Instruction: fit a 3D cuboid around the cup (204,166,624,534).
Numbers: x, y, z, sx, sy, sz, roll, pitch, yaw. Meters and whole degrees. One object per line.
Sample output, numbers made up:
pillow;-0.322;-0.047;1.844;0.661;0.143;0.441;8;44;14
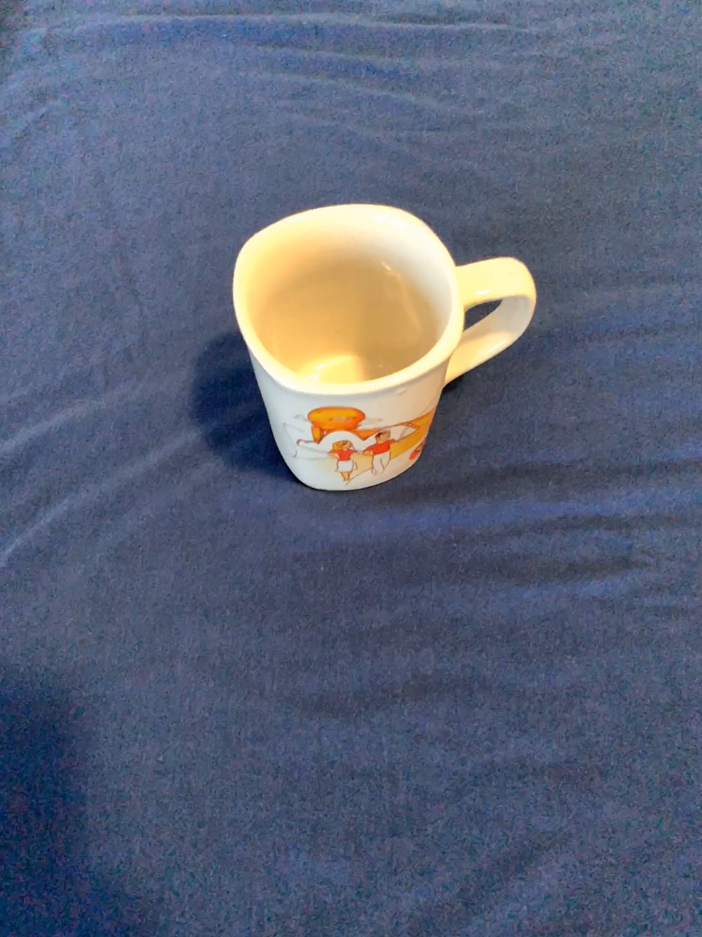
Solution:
cup;0.016;-0.037;0.255;0.110;0.090;0.070;-12;64;-6
